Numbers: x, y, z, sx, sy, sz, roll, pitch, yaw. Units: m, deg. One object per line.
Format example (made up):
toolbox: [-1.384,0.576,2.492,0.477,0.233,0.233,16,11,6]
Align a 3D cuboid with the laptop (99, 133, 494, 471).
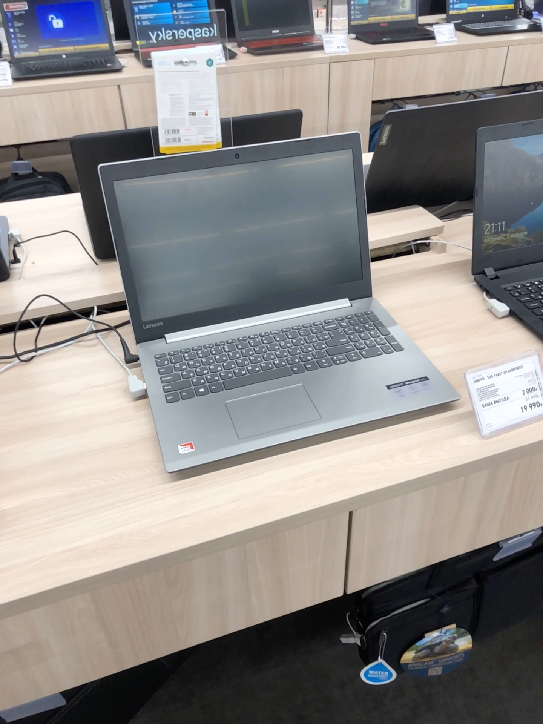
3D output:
laptop: [0.005,-0.109,0.784,0.380,0.235,0.345,-12,38,-14]
